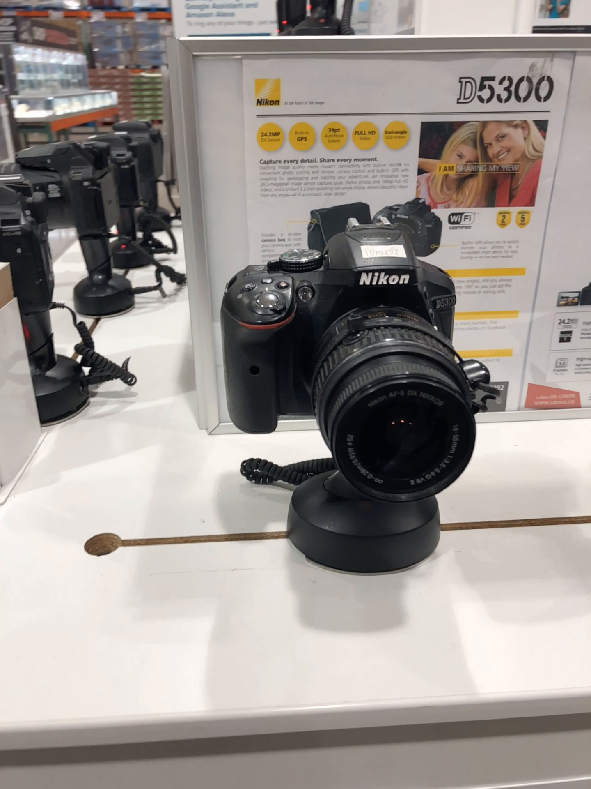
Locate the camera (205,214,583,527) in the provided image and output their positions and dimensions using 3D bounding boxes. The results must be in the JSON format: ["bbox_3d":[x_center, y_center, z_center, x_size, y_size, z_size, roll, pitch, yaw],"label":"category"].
[{"bbox_3d":[0.029,-0.023,0.304,0.130,0.090,0.141,-3,26,-5],"label":"camera"}]
